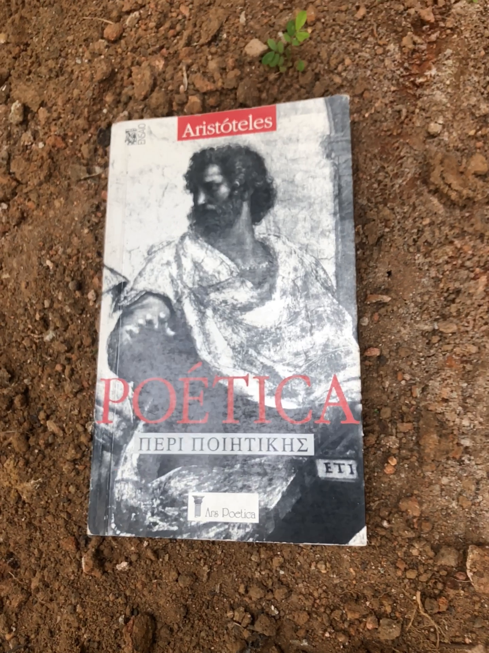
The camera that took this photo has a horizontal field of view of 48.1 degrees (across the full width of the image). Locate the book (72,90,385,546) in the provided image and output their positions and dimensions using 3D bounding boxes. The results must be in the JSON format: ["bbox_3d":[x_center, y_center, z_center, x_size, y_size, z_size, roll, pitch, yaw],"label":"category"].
[{"bbox_3d":[-0.009,-0.007,0.245,0.130,0.015,0.189,-3,79,13],"label":"book"}]
